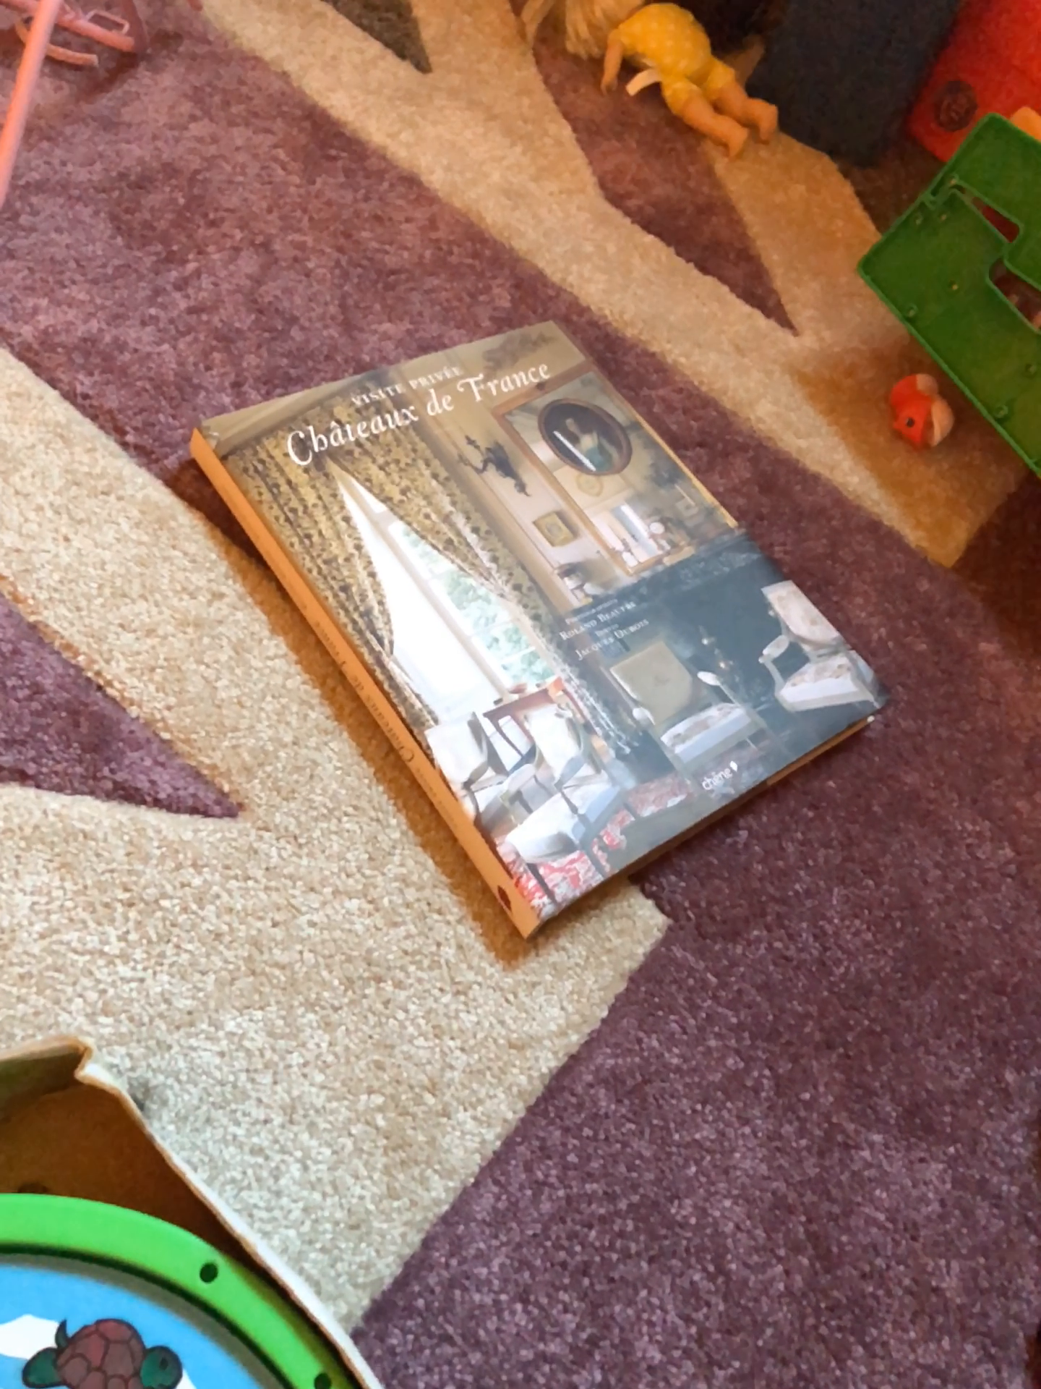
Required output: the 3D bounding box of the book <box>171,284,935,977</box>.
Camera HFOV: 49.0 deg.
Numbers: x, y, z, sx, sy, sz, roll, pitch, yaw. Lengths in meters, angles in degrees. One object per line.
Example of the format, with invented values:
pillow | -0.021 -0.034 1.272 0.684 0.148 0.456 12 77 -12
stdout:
book | 0.014 -0.064 0.613 0.261 0.050 0.340 -26 68 -29
